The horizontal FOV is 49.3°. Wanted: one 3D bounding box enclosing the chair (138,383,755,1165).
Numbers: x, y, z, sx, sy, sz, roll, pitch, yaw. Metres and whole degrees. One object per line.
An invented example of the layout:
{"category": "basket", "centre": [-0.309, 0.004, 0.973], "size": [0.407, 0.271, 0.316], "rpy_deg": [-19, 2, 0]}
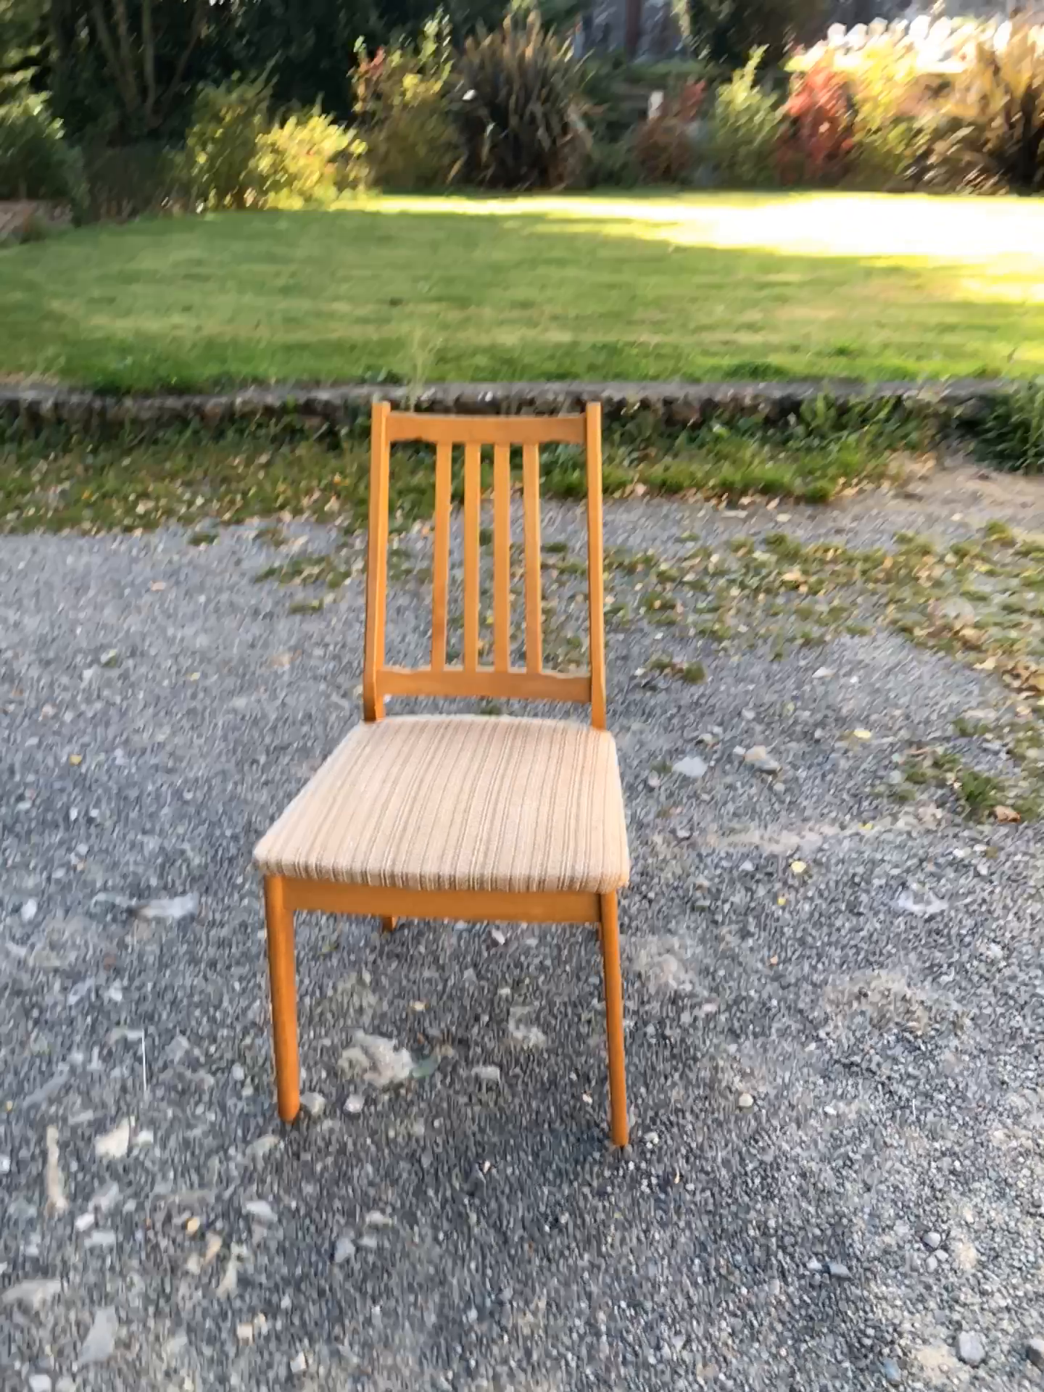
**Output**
{"category": "chair", "centre": [-0.056, 0.080, 1.557], "size": [0.600, 0.845, 0.594], "rpy_deg": [3, 29, 4]}
